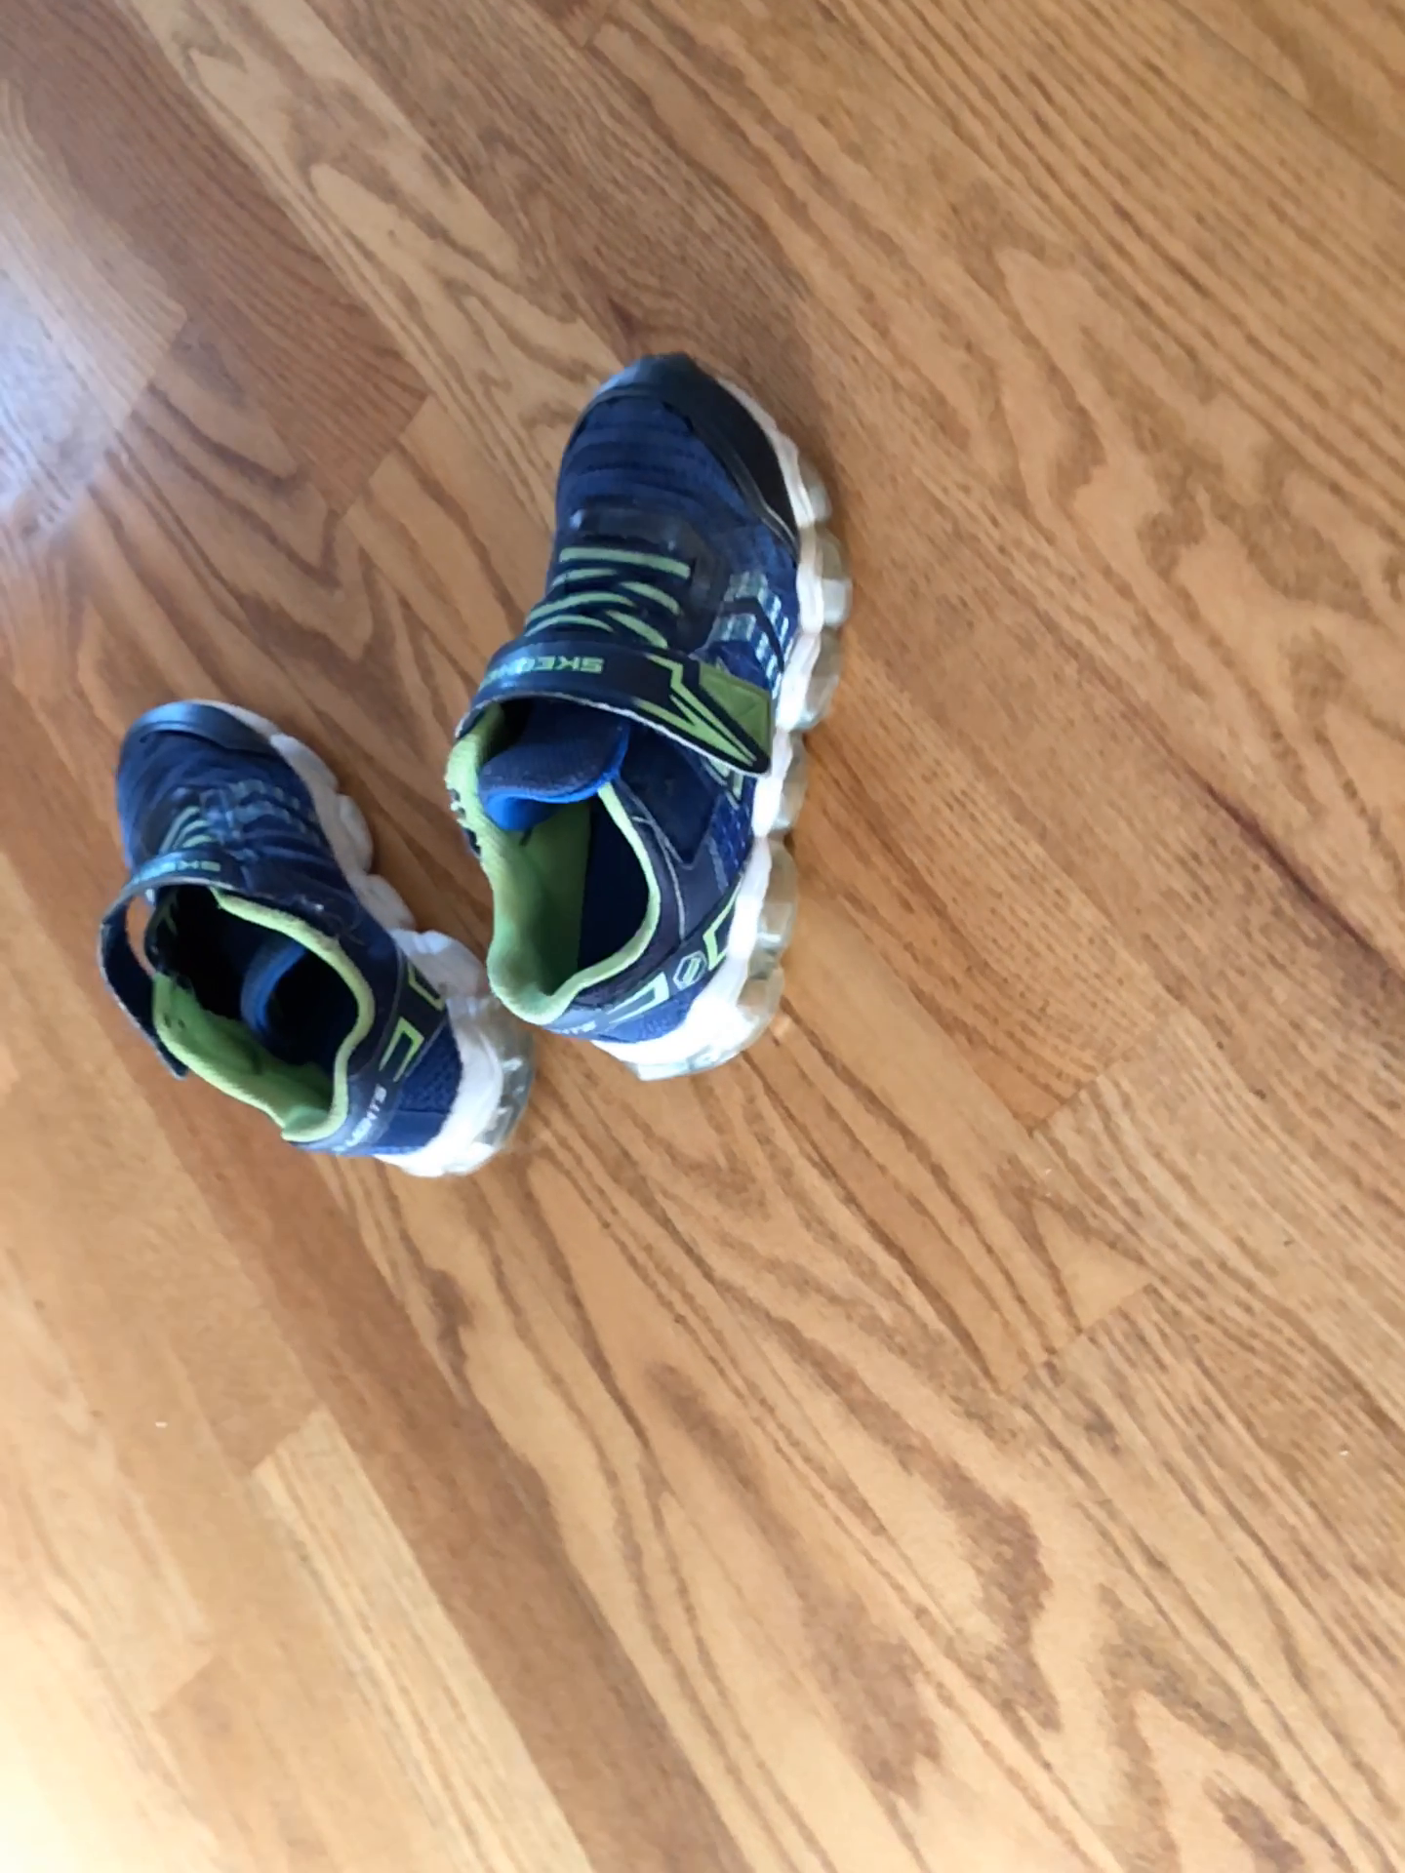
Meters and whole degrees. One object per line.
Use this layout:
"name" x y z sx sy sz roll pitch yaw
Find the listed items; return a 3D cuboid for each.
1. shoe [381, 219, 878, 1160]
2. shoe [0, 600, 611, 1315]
"shoe" -0.018 -0.058 0.413 0.093 0.087 0.212 4 94 31
"shoe" -0.144 0.001 0.495 0.203 0.095 0.093 48 114 20
